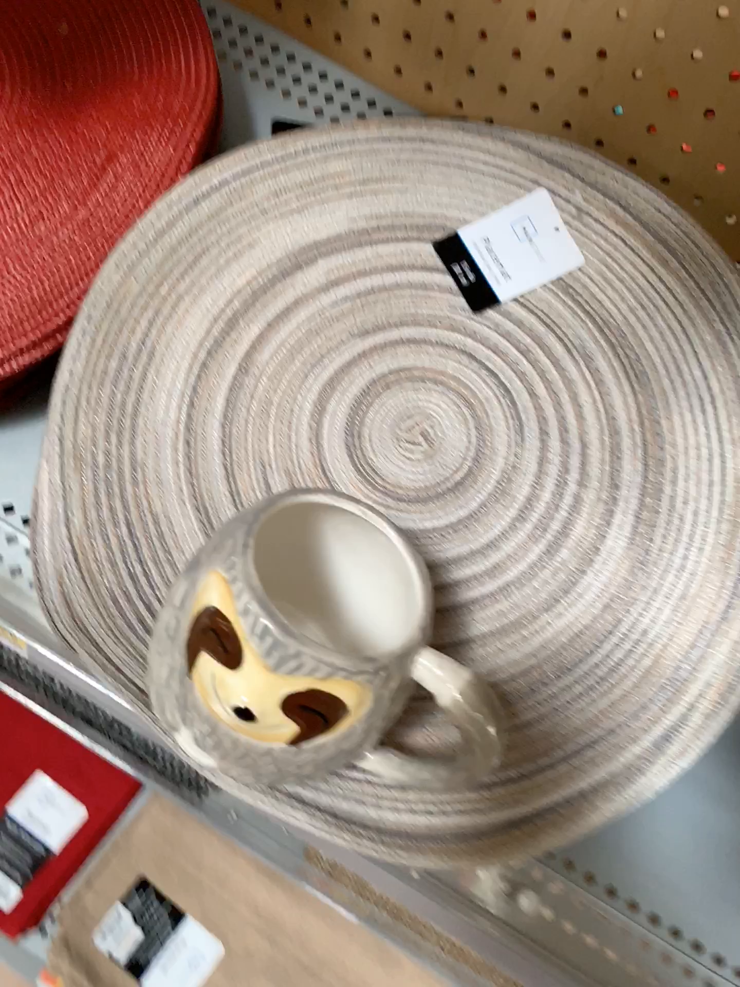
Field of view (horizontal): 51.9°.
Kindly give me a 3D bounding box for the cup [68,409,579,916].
[{"bbox_3d":[-0.016,0.064,0.300,0.150,0.089,0.106,32,44,0],"label":"cup"}]
